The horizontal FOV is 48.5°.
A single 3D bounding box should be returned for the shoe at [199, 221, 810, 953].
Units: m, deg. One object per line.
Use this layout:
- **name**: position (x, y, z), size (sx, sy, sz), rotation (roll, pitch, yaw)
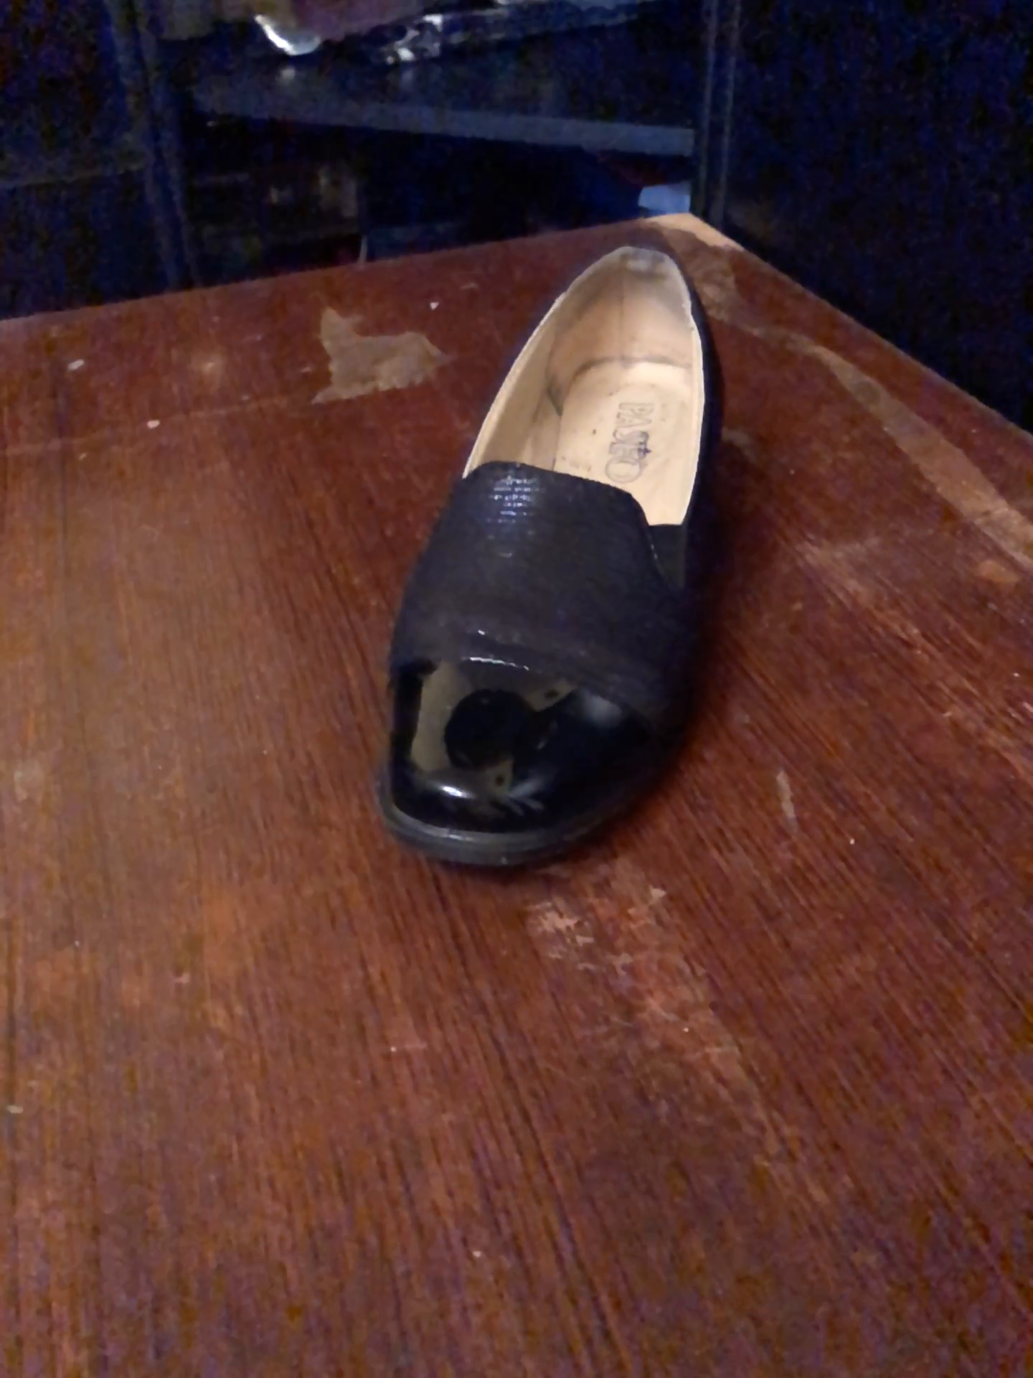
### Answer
- **shoe**: position (0.018, -0.053, 0.336), size (0.089, 0.090, 0.236), rotation (11, 40, 16)
